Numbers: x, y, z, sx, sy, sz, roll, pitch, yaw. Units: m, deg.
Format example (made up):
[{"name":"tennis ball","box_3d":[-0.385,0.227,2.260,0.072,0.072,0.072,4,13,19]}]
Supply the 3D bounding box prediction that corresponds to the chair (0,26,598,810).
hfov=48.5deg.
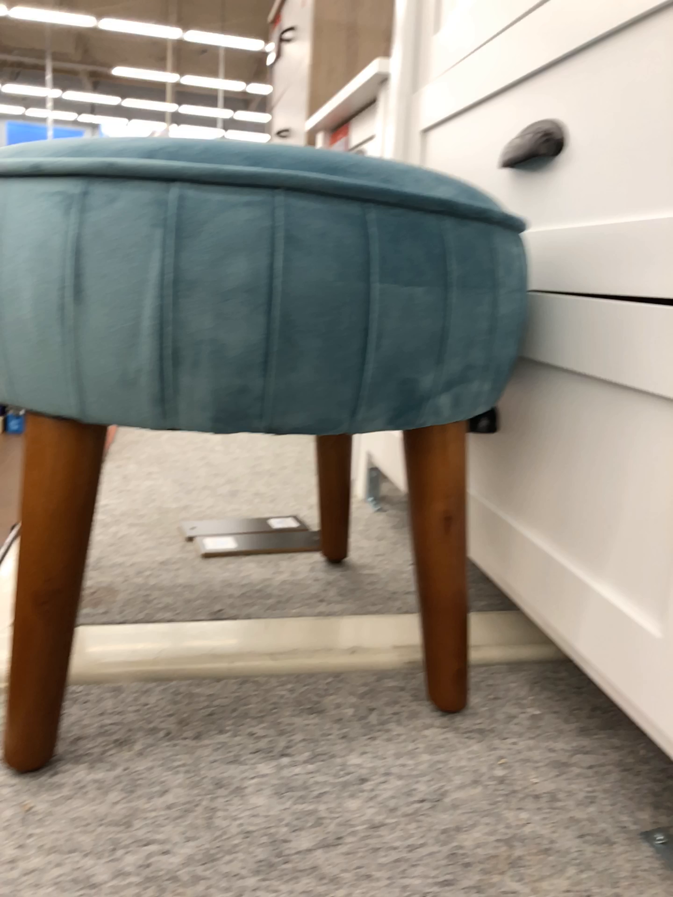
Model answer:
[{"name":"chair","box_3d":[-0.088,-0.031,0.587,0.370,0.399,0.371,2,13,-11]}]
